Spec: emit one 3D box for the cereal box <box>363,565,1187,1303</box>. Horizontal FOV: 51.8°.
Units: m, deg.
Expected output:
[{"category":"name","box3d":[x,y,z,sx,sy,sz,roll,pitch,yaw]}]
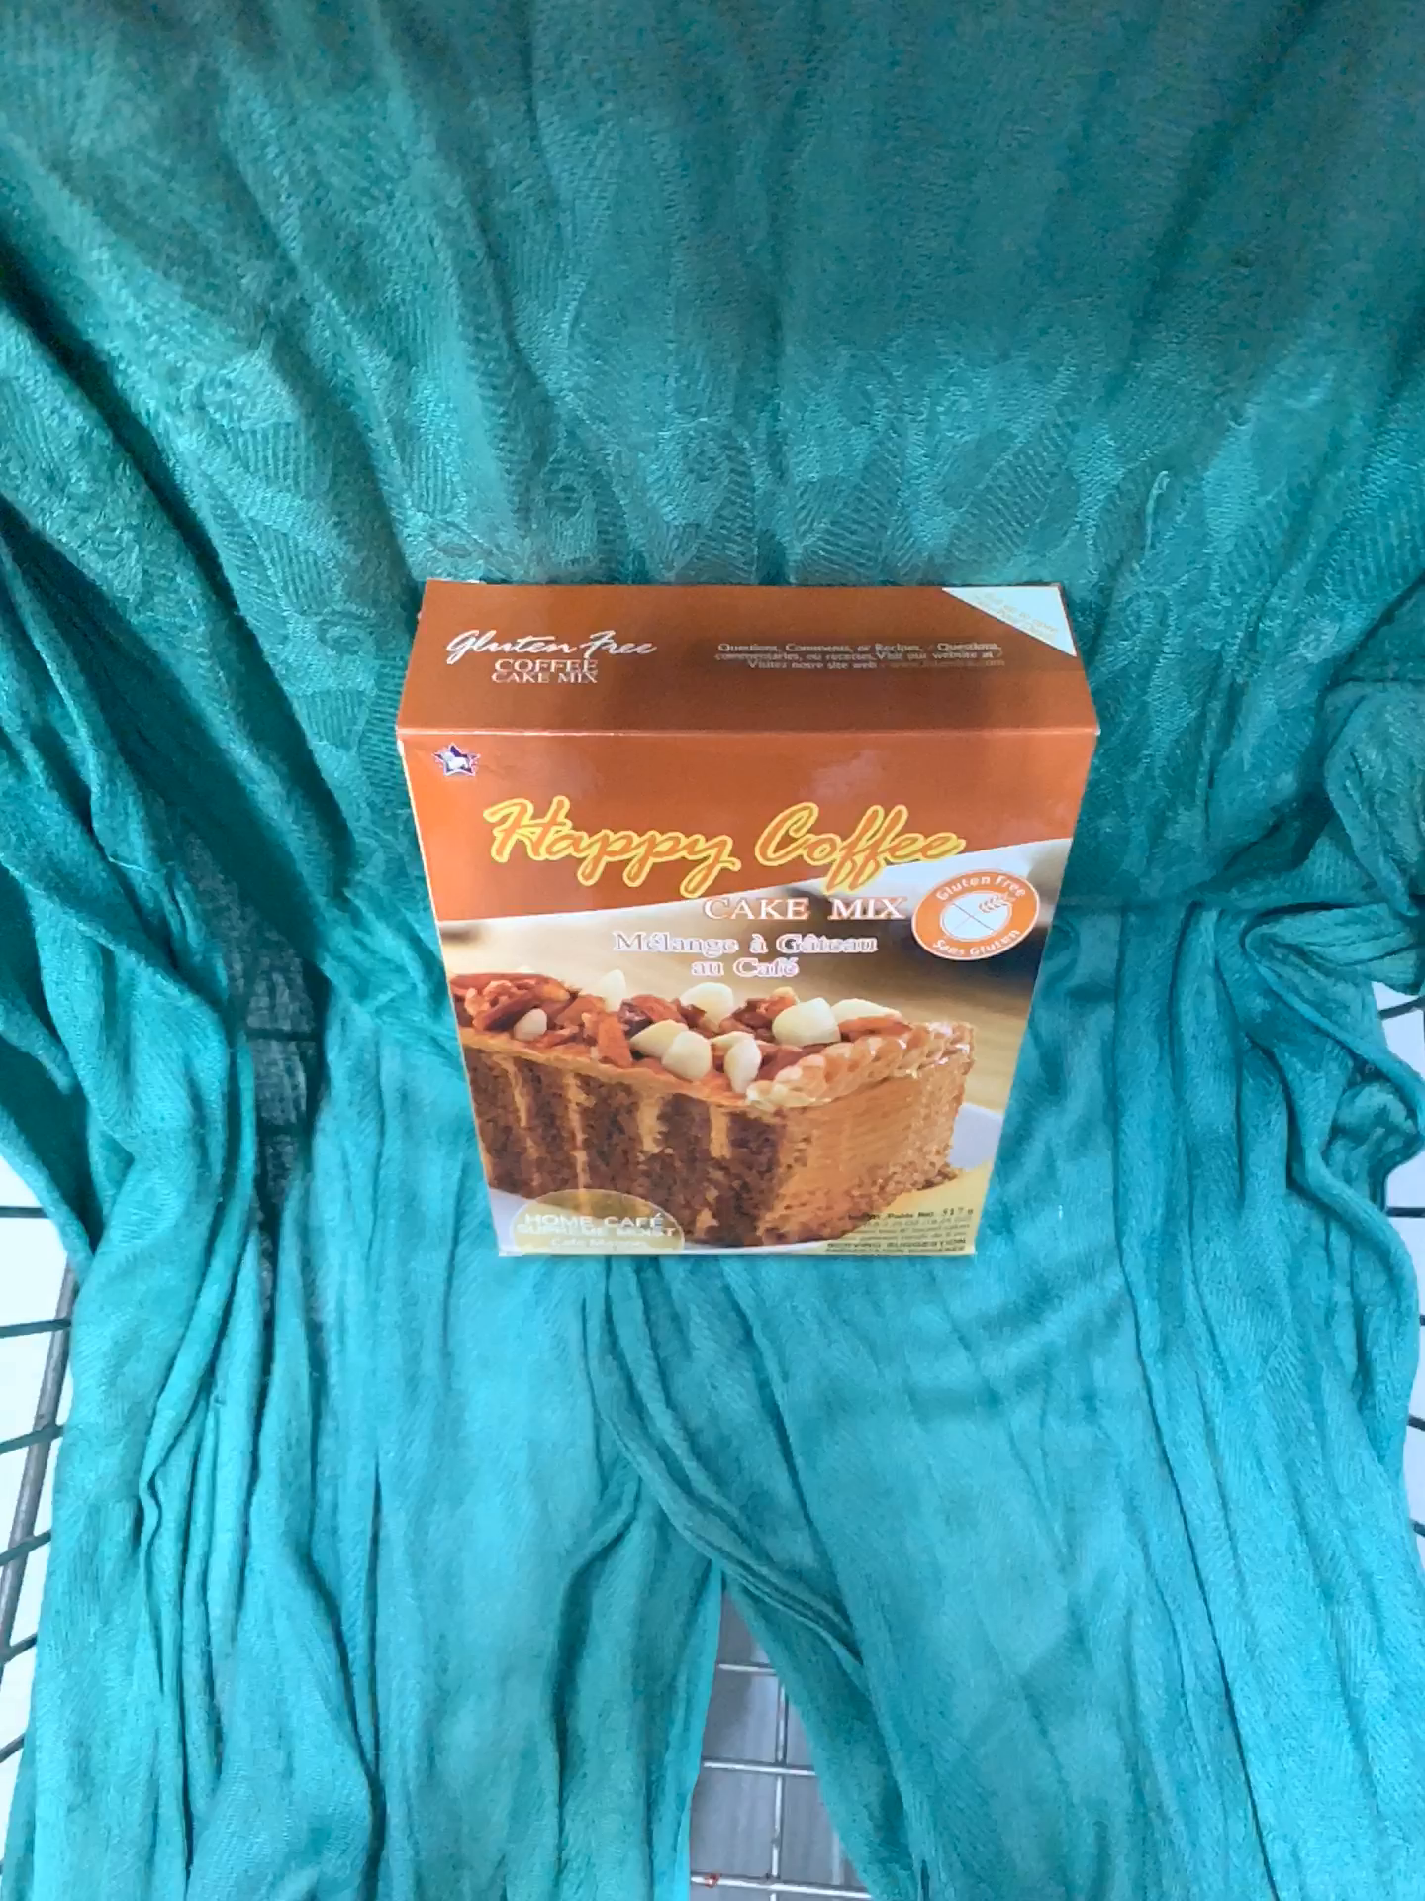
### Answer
[{"category":"cereal box","box3d":[0.011,0.011,0.361,0.150,0.210,0.050,0,47,-1]}]
